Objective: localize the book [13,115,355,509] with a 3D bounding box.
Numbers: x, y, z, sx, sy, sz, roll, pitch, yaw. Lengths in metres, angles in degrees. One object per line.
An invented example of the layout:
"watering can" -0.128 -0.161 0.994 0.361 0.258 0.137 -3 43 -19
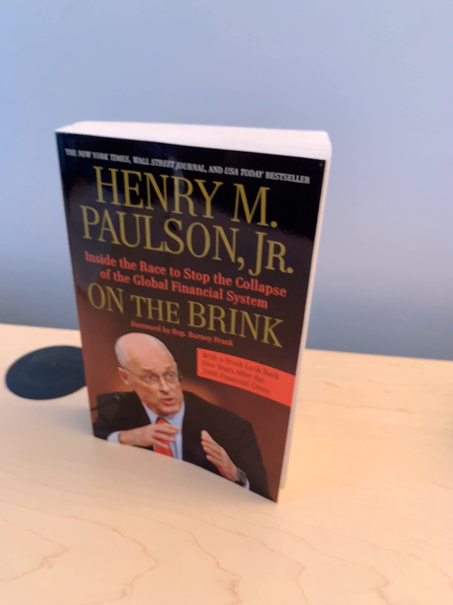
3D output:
"book" -0.021 0.007 0.313 0.167 0.228 0.082 6 27 9
